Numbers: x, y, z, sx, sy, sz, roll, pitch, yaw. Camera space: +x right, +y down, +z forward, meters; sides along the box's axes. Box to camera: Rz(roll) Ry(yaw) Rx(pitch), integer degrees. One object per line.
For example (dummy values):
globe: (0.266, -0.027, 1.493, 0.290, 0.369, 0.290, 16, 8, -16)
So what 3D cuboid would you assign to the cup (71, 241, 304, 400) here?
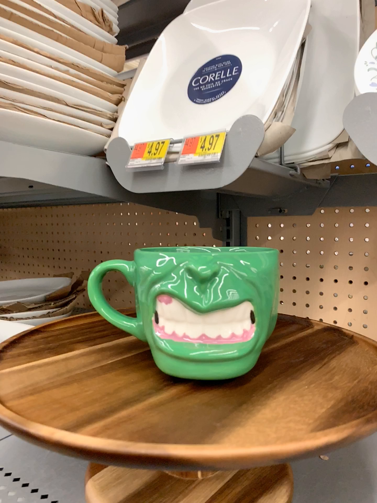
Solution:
cup: (0.003, 0.040, 0.300, 0.140, 0.090, 0.130, 0, 4, 0)
